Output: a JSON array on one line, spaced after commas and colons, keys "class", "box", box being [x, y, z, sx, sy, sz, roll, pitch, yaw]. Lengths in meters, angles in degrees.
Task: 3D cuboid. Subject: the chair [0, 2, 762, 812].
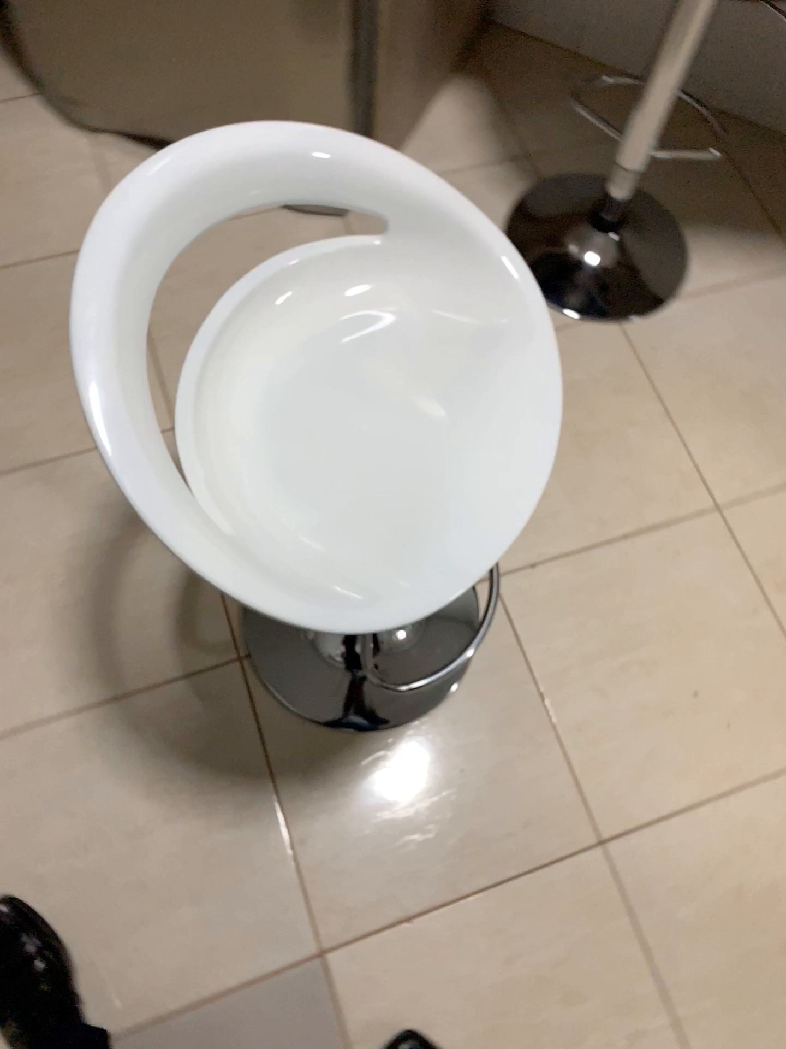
[{"class": "chair", "box": [-0.032, -0.026, 0.931, 0.450, 0.737, 0.472, 26, 68, 7]}]
